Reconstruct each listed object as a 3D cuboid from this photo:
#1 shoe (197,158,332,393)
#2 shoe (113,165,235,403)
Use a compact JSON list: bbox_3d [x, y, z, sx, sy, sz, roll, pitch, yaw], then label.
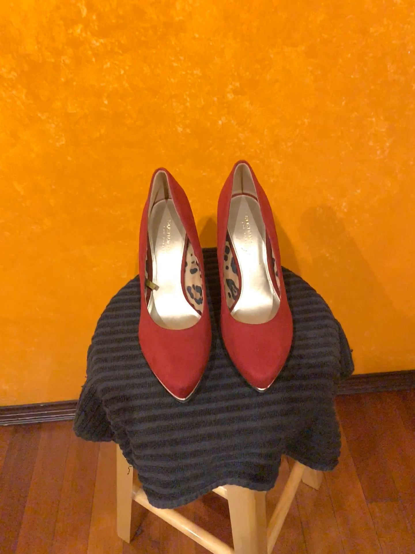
[{"bbox_3d":[0.043,-0.021,0.490,0.093,0.128,0.271,-2,38,-5],"label":"shoe"},{"bbox_3d":[-0.043,-0.015,0.501,0.100,0.119,0.291,-3,38,-5],"label":"shoe"}]
